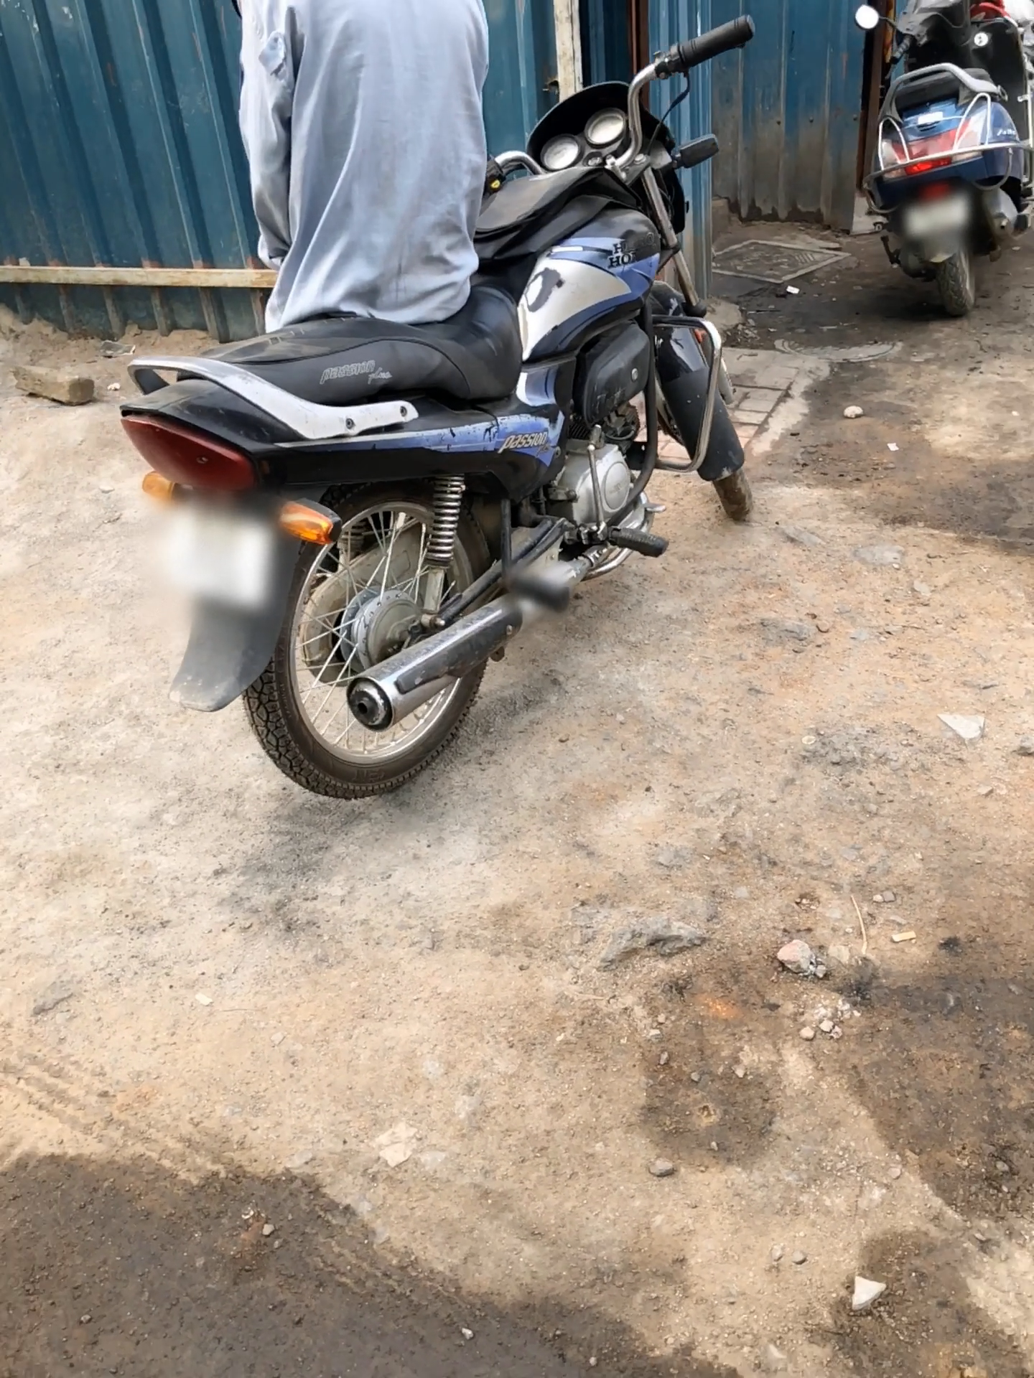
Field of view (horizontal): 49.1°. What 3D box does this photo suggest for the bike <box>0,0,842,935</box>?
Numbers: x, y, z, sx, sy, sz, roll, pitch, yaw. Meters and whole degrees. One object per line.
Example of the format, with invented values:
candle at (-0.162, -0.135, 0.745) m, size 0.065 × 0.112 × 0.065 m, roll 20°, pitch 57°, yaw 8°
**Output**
bike at (-0.016, -0.679, 2.318) m, size 0.784 × 1.154 × 1.811 m, roll 14°, pitch 39°, yaw 28°
